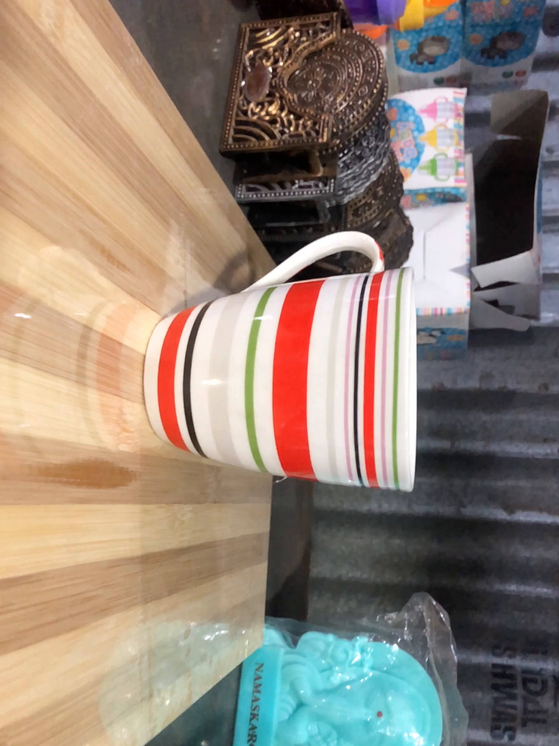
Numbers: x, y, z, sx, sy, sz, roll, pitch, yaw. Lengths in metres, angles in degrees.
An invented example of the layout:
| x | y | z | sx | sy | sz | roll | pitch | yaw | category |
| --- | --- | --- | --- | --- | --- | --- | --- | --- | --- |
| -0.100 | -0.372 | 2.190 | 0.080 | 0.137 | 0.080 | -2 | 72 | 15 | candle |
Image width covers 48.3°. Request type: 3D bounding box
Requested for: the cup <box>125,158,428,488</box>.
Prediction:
| x | y | z | sx | sy | sz | roll | pitch | yaw | category |
| --- | --- | --- | --- | --- | --- | --- | --- | --- | --- |
| 0.007 | -0.013 | 0.251 | 0.080 | 0.100 | 0.110 | 39 | 53 | -75 | cup |
